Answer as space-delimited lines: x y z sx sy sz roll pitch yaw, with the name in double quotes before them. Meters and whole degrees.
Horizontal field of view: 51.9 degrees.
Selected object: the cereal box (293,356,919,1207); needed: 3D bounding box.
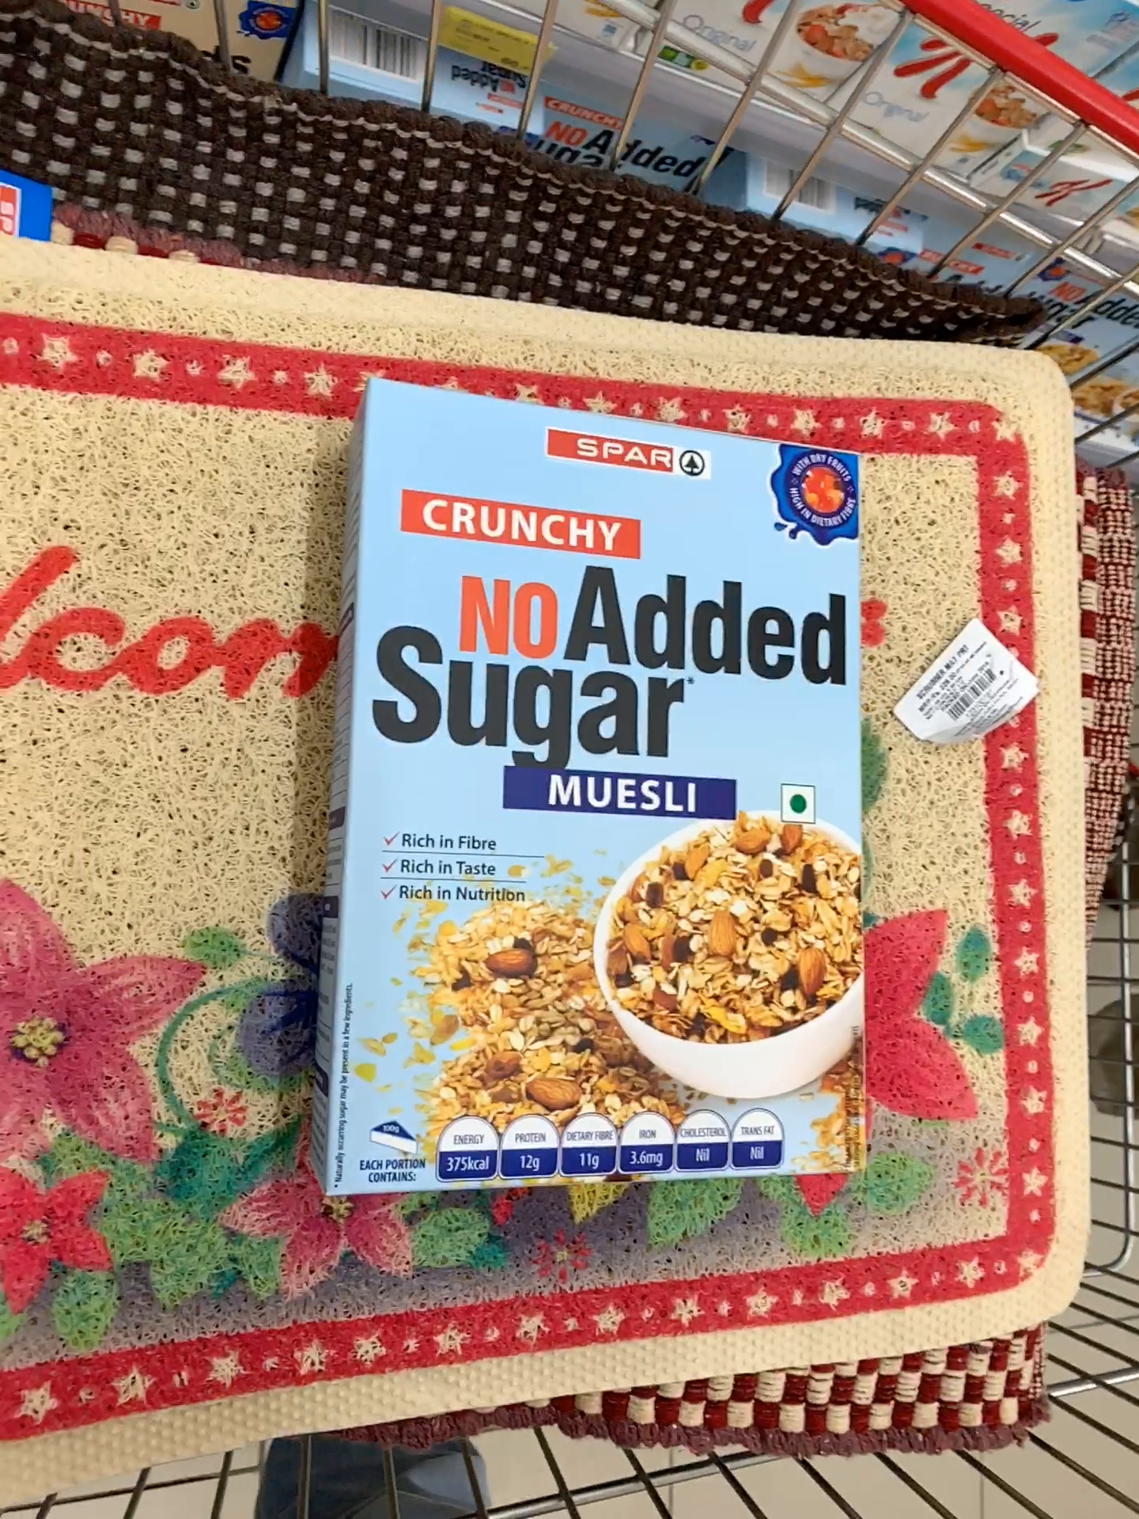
"cereal box" 0.013 0.008 0.364 0.180 0.050 0.230 3 82 -16
